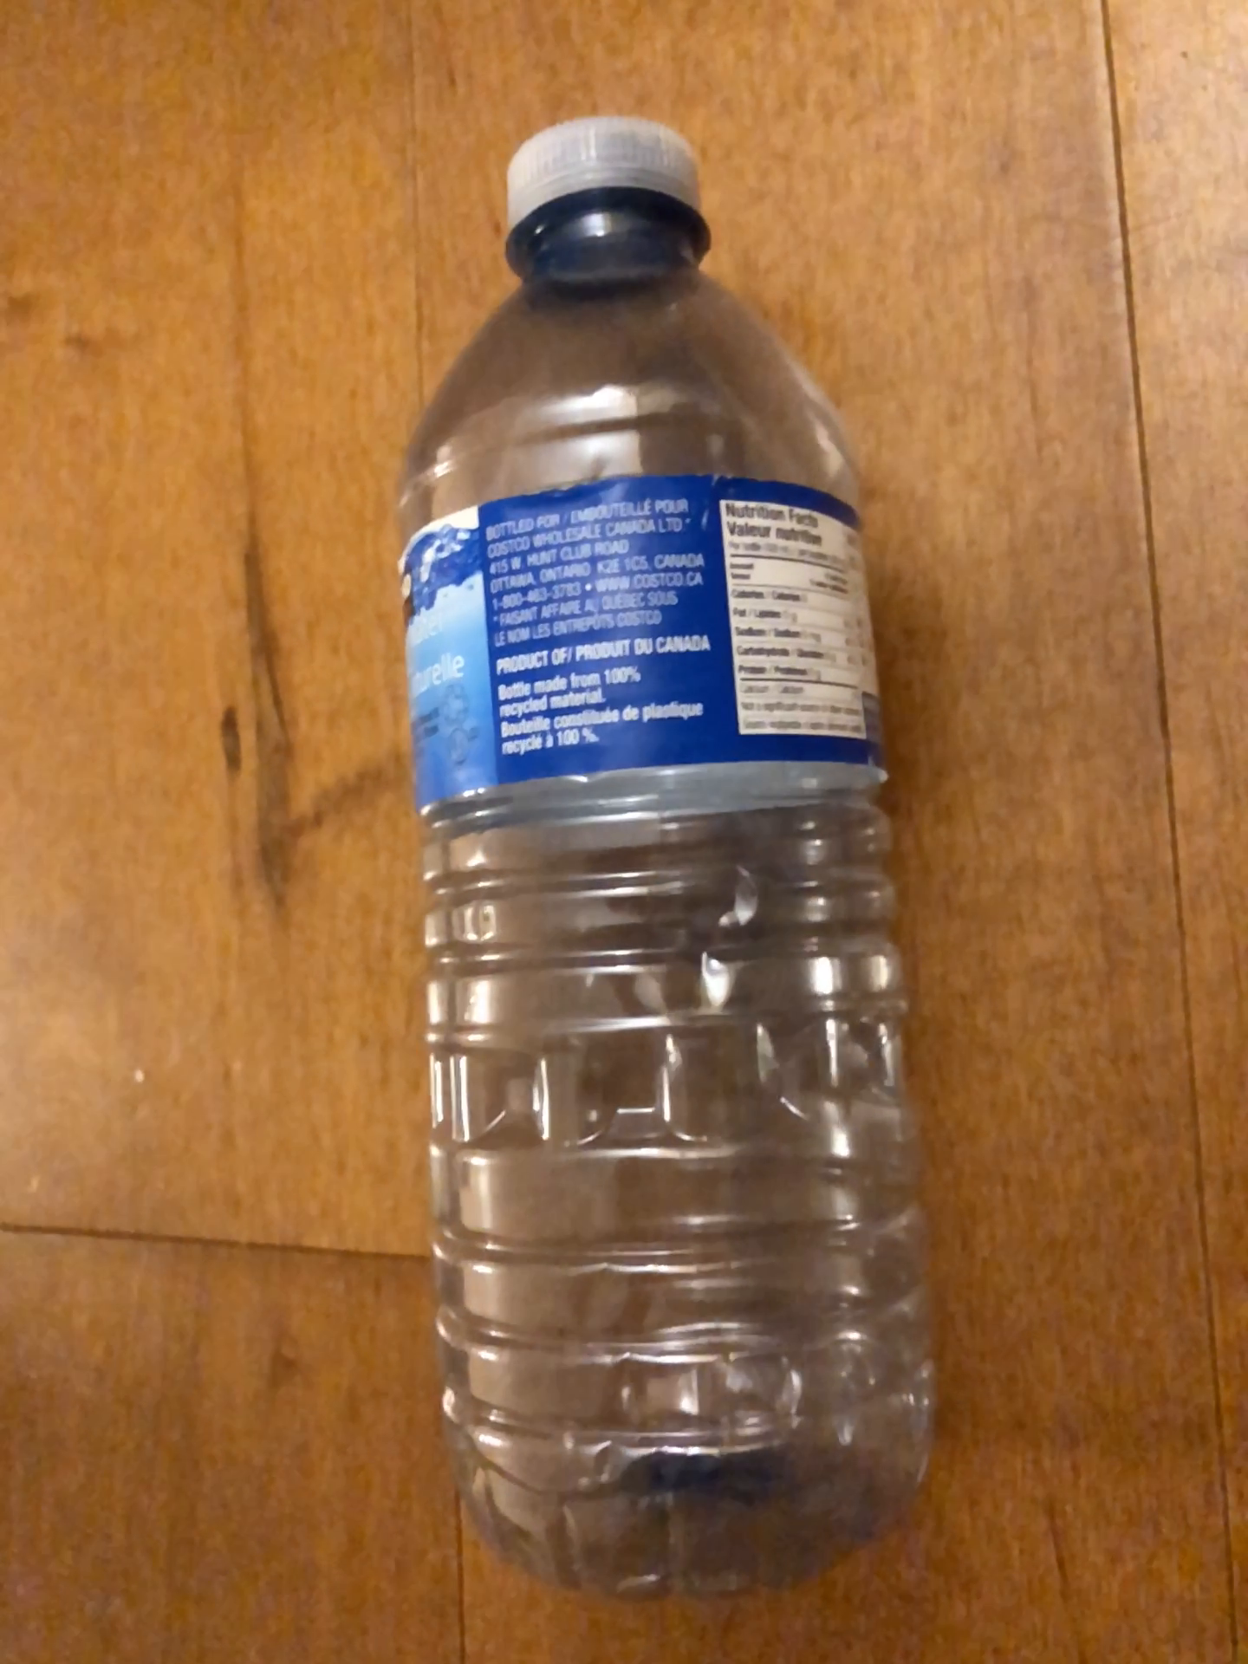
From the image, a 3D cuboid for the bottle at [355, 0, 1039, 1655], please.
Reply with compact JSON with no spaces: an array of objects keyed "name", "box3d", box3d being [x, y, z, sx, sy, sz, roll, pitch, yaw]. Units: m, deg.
[{"name":"bottle","box3d":[0.001,-0.008,0.202,0.070,0.070,0.200,-1,83,-13]}]
